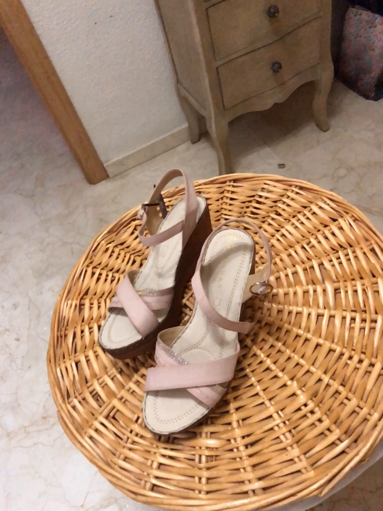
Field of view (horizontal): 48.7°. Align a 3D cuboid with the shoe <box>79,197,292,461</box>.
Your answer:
[{"bbox_3d":[0.011,0.070,0.474,0.112,0.100,0.251,18,61,26],"label":"shoe"}]

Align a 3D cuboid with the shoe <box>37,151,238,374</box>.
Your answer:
[{"bbox_3d":[-0.053,-0.001,0.548,0.100,0.104,0.261,22,62,28],"label":"shoe"}]
